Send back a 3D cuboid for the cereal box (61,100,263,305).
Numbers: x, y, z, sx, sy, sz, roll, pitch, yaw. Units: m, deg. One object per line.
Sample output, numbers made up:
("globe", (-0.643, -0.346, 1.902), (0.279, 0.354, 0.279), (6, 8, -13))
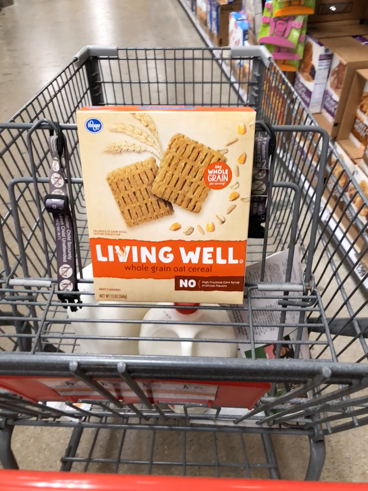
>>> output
("cereal box", (-0.022, -0.048, 0.499), (0.210, 0.240, 0.060), (1, 25, 3))
